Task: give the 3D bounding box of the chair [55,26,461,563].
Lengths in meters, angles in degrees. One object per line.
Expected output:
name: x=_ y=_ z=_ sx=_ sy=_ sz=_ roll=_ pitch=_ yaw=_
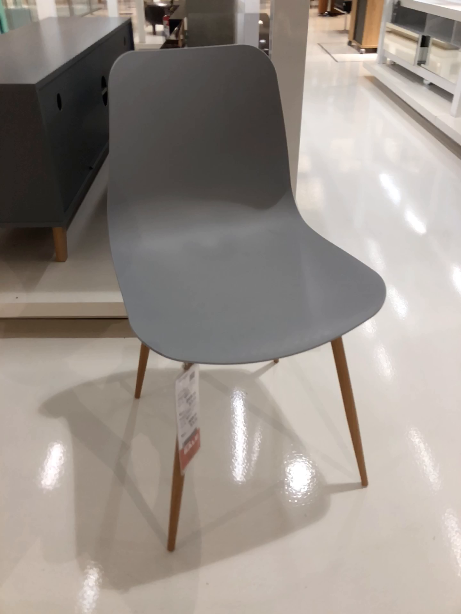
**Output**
chair: x=0.007 y=-0.035 z=0.952 sx=0.470 sy=0.813 sz=0.473 roll=-11 pitch=35 yaw=-15
